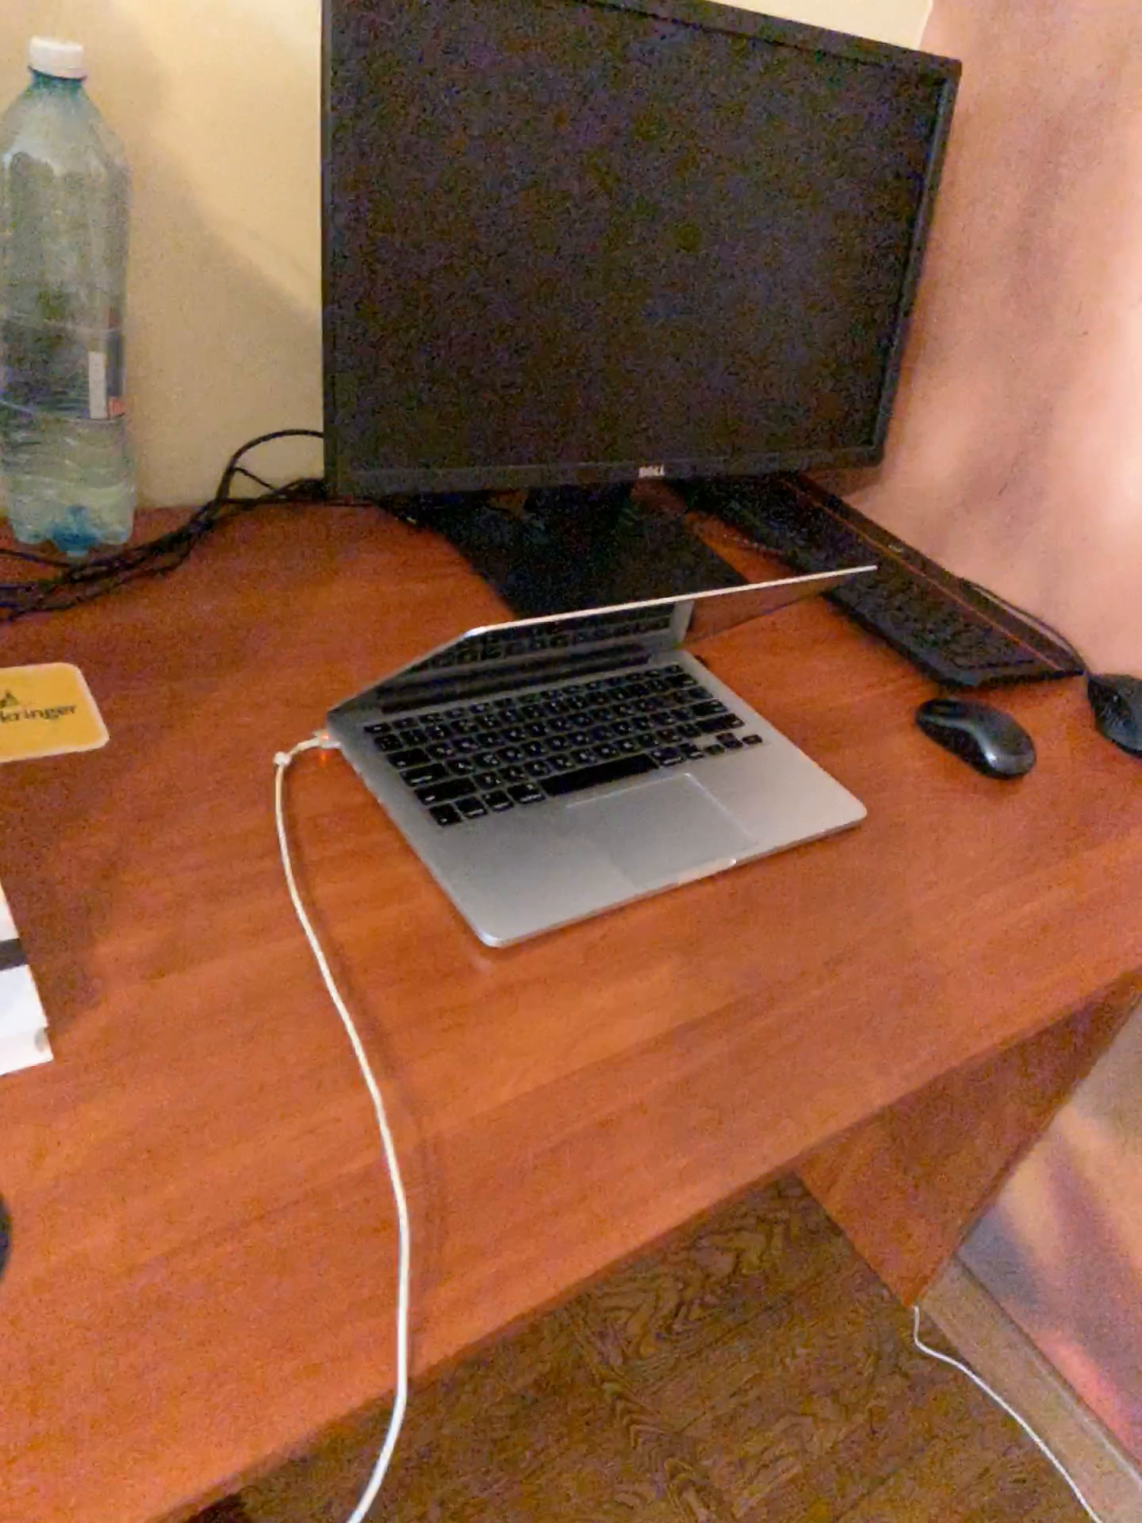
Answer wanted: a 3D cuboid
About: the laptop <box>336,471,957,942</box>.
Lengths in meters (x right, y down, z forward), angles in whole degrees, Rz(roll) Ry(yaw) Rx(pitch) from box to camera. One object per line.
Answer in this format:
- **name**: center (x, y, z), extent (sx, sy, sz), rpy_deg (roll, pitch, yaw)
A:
- **laptop**: center (0.043, -0.056, 0.719), extent (0.304, 0.150, 0.207), rpy_deg (-14, 44, -36)
